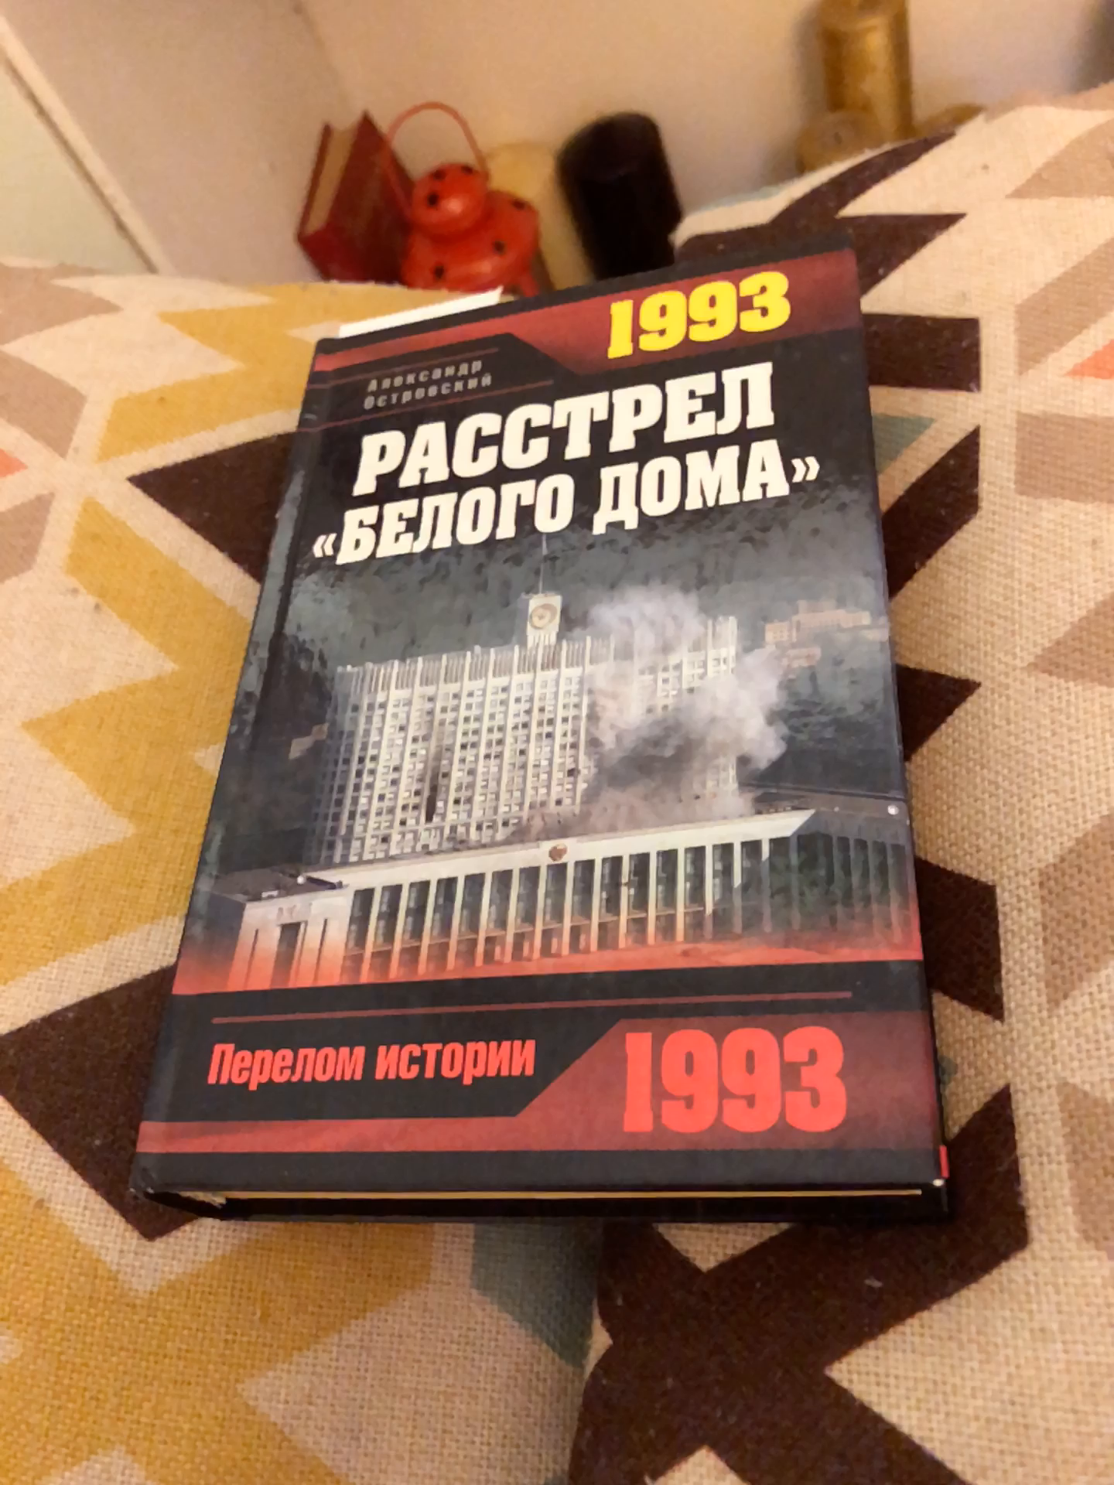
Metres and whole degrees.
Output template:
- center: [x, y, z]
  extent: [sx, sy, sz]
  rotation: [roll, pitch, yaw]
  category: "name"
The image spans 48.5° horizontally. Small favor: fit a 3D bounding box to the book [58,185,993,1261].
- center: [-0.003, -0.014, 0.243]
  extent: [0.140, 0.030, 0.211]
  rotation: [-8, 57, 17]
  category: "book"
